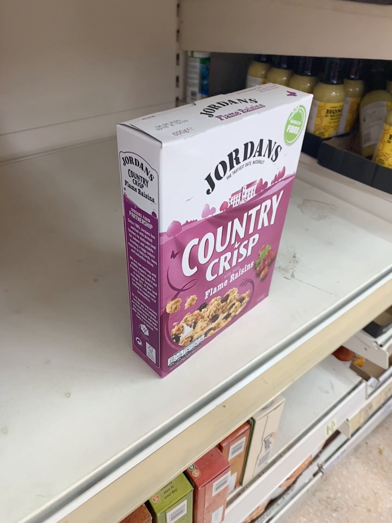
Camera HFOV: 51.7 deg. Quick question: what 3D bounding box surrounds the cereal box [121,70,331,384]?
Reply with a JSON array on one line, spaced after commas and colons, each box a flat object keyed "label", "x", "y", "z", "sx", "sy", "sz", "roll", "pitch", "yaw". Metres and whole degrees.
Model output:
[{"label": "cereal box", "x": 0.028, "y": -0.031, "z": 0.386, "sx": 0.050, "sy": 0.248, "sz": 0.191, "roll": 32, "pitch": 46, "yaw": 32}]
